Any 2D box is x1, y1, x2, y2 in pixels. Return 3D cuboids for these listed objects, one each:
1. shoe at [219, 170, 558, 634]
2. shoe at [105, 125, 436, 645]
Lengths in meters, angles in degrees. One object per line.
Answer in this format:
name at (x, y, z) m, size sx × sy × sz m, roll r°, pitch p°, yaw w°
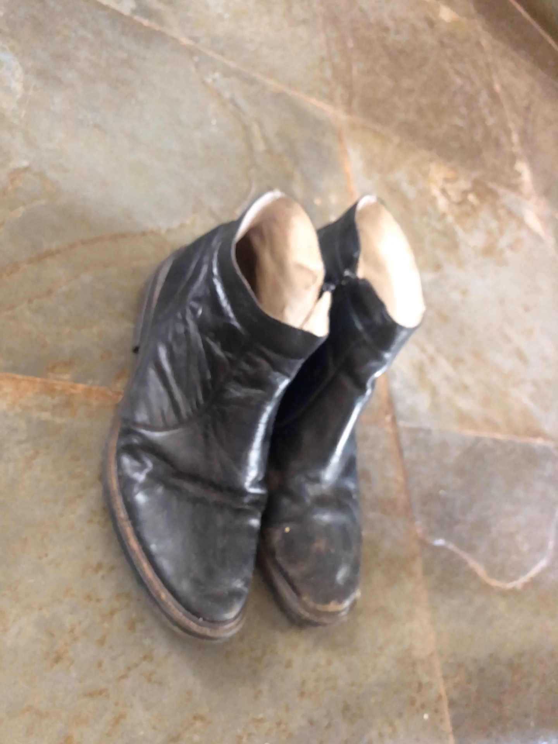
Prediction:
shoe at (0.056, 0.027, 0.421) m, size 0.100 × 0.159 × 0.251 m, roll 6°, pitch 64°, yaw -34°
shoe at (-0.022, 0.018, 0.374) m, size 0.100 × 0.159 × 0.251 m, roll 12°, pitch 60°, yaw -32°
